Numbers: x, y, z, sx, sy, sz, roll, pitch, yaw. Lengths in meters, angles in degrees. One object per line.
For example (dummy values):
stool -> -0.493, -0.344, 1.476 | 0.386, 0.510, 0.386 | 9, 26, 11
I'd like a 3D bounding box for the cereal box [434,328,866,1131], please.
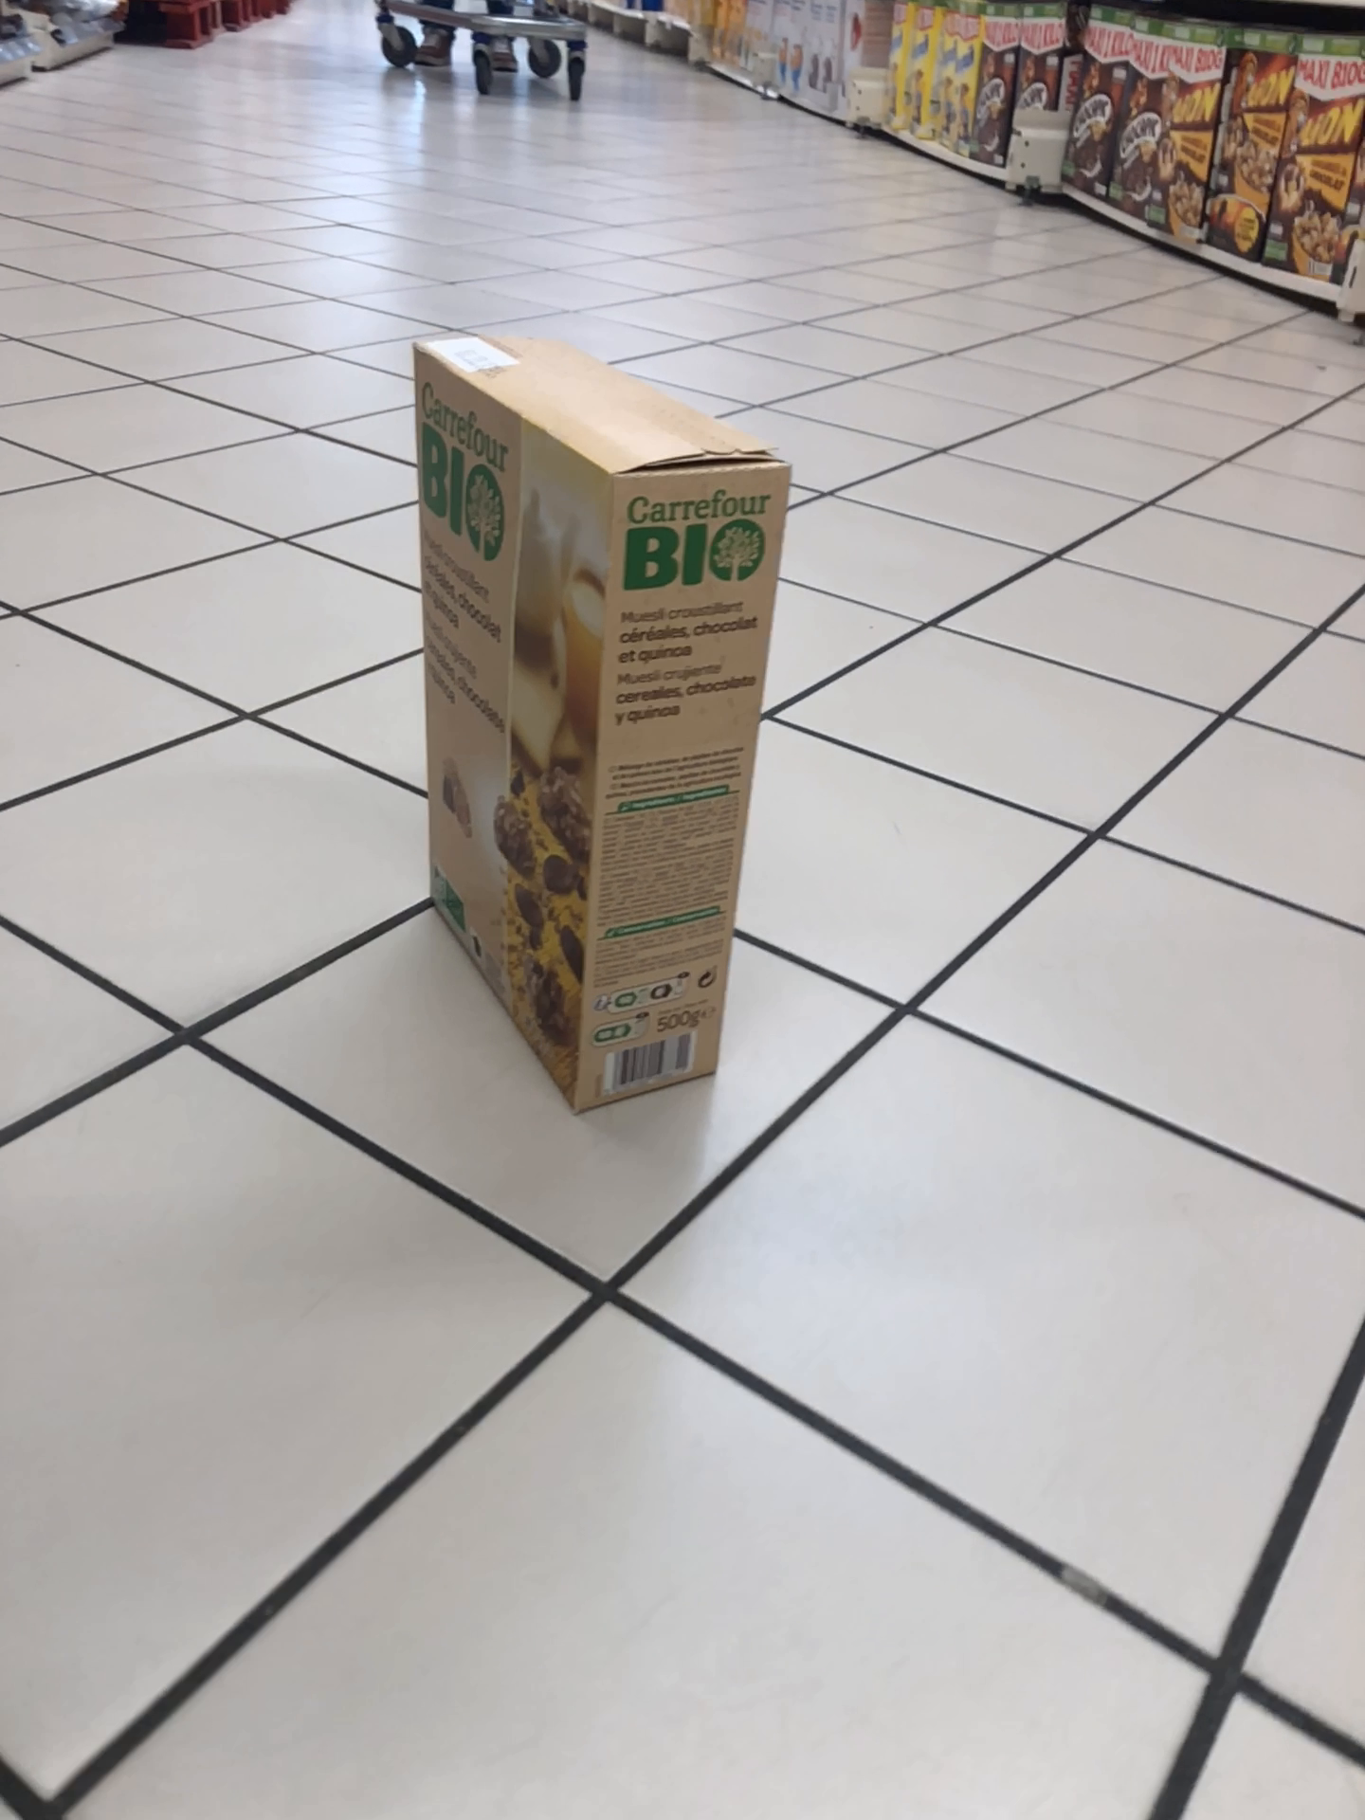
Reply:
cereal box -> -0.027, -0.070, 0.535 | 0.070, 0.229, 0.171 | -11, 34, -26
